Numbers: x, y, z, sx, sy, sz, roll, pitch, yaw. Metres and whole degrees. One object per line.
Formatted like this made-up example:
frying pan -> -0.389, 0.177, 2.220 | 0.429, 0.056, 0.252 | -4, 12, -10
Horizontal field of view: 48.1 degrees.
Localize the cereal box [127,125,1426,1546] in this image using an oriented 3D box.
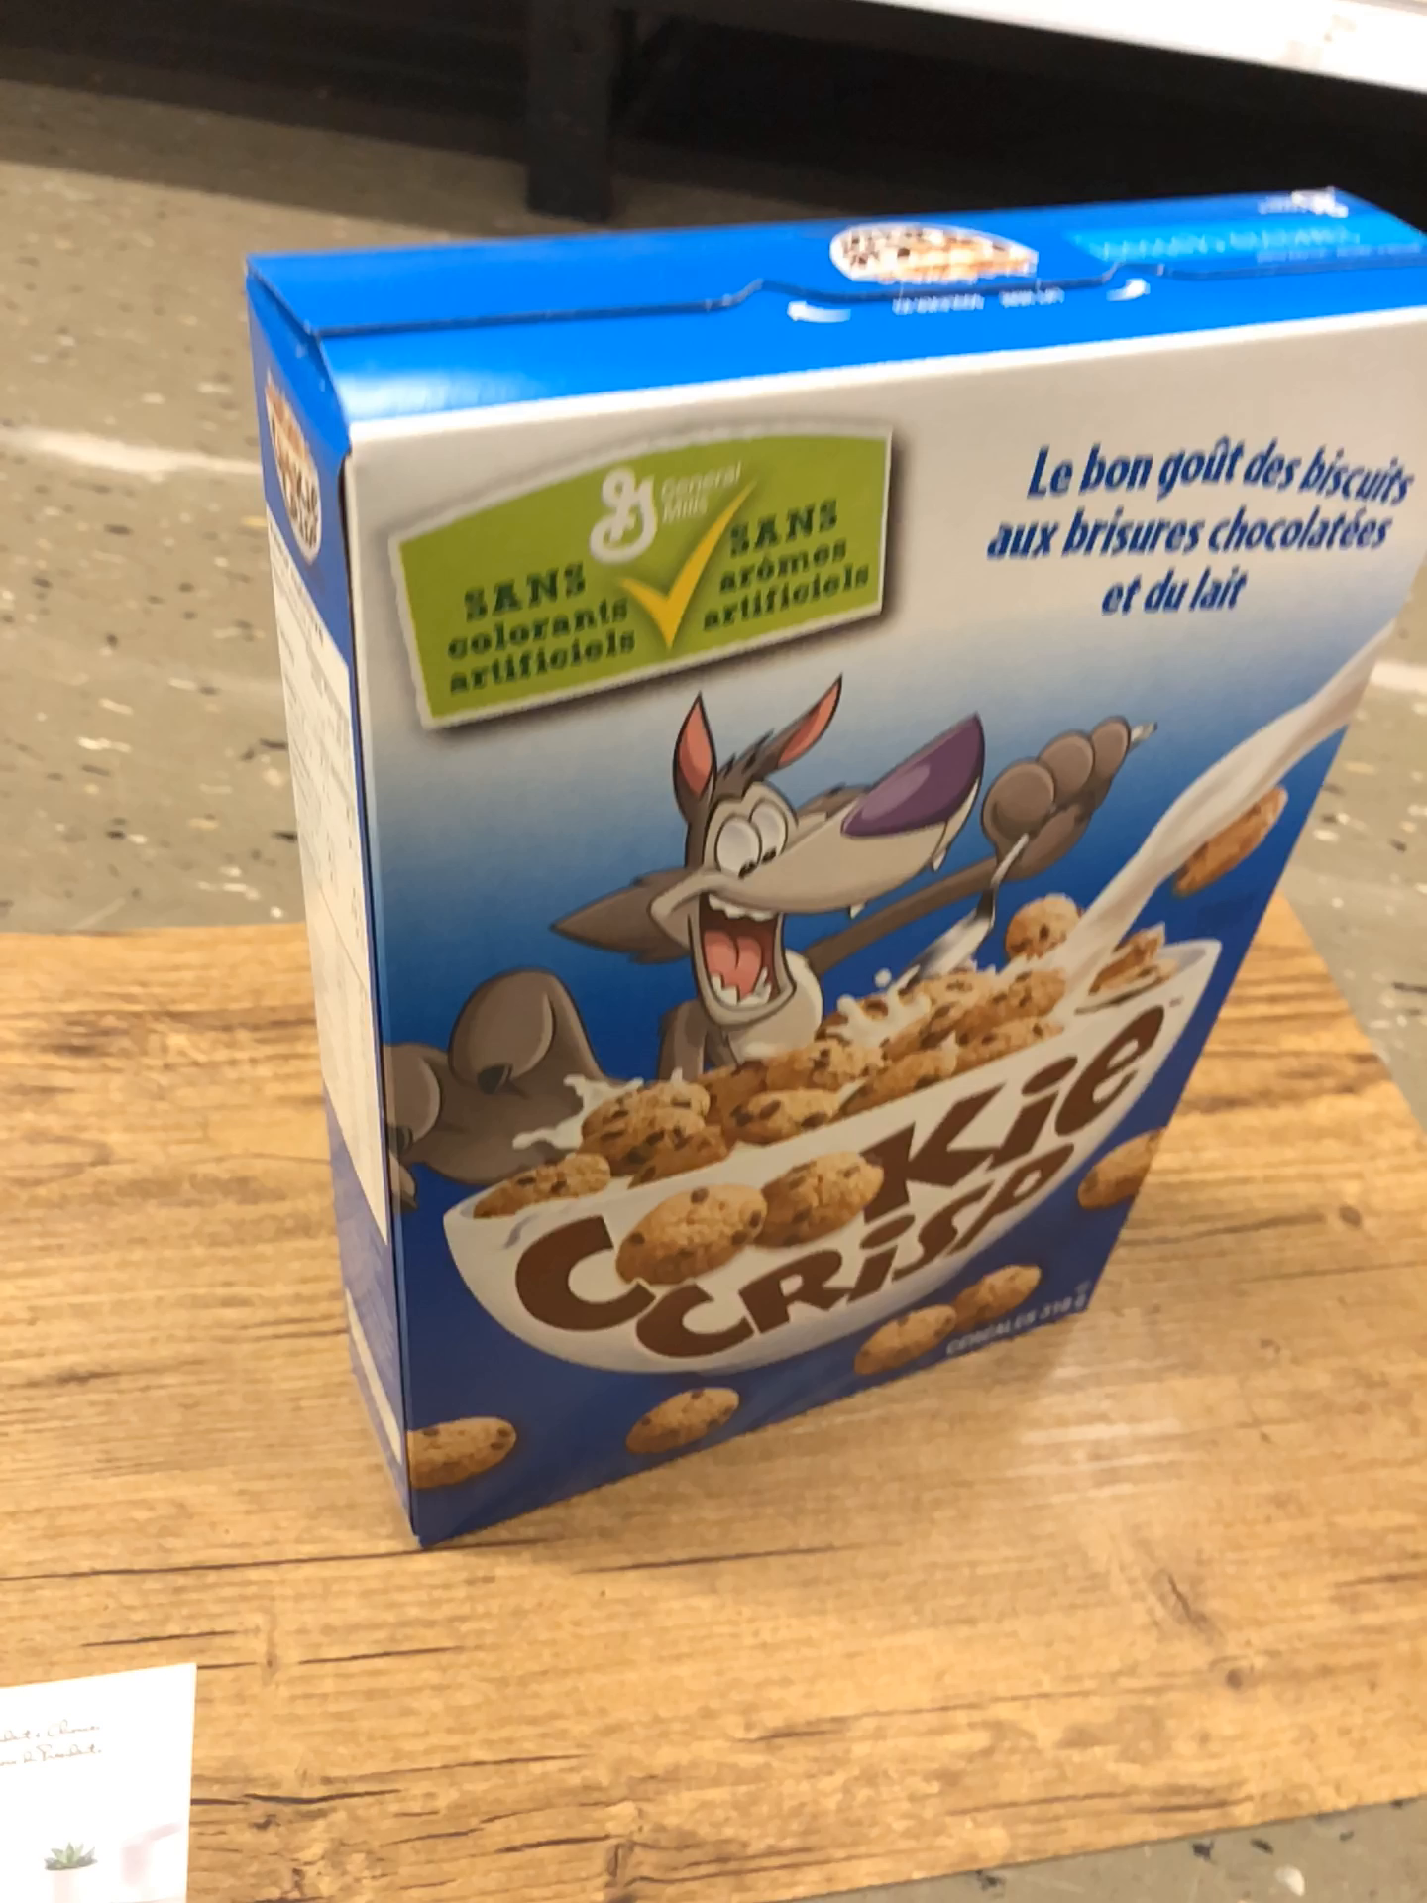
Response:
cereal box -> 0.014, -0.006, 0.318 | 0.200, 0.269, 0.060 | -14, 48, -21
